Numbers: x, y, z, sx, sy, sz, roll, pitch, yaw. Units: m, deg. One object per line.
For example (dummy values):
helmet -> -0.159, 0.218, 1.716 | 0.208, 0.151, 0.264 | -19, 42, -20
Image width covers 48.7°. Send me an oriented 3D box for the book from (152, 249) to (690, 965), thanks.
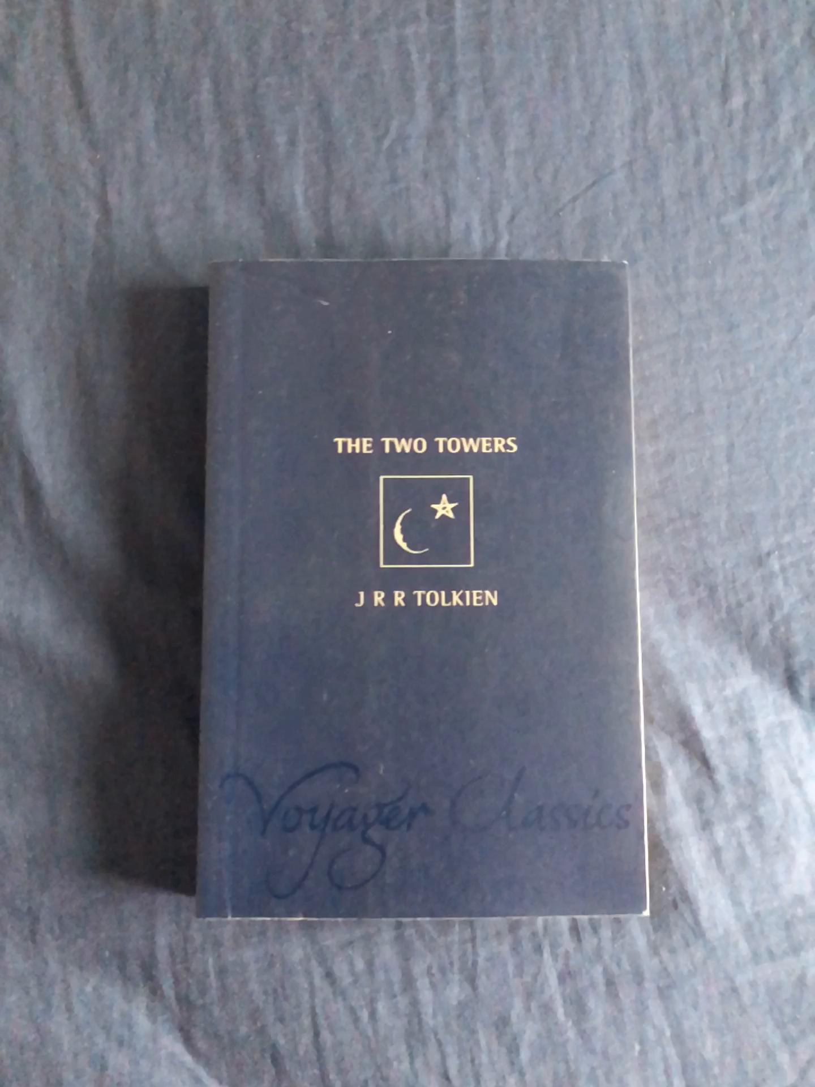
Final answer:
book -> 0.000, 0.015, 0.275 | 0.140, 0.060, 0.190 | -2, 84, -4
